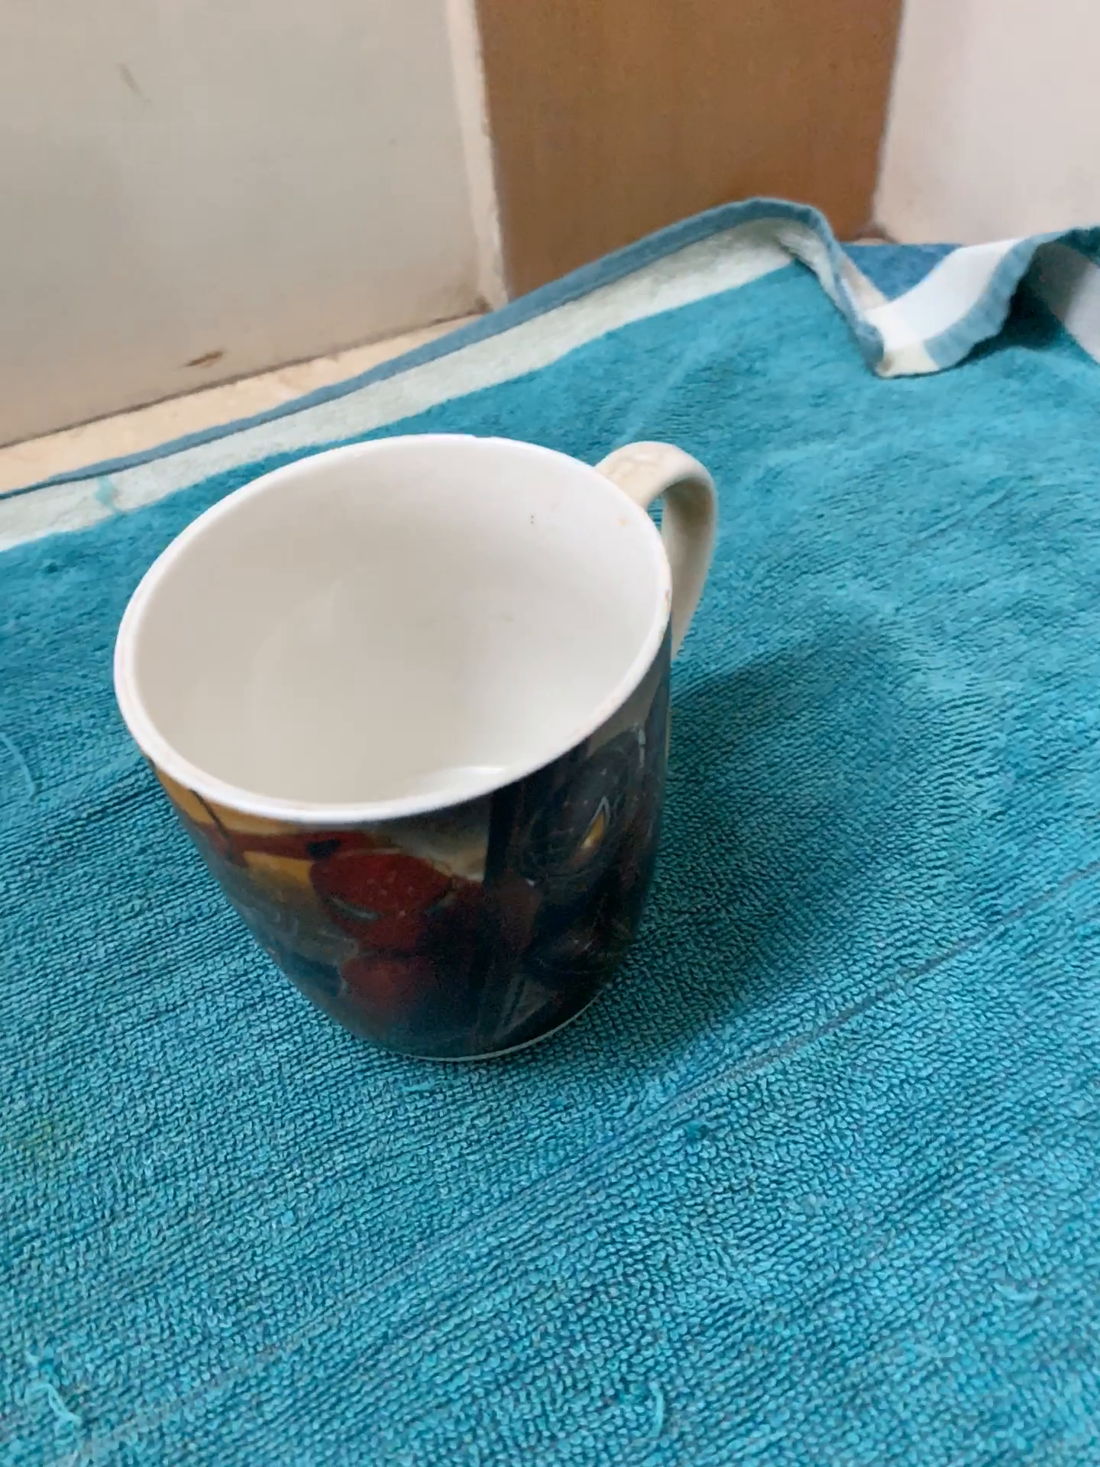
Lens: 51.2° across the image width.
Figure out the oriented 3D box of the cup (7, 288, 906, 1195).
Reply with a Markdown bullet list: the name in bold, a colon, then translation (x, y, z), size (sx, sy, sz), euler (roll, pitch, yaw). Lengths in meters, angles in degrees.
- **cup**: translation (-0.008, -0.005, 0.212), size (0.080, 0.089, 0.120), euler (31, 58, 29)
